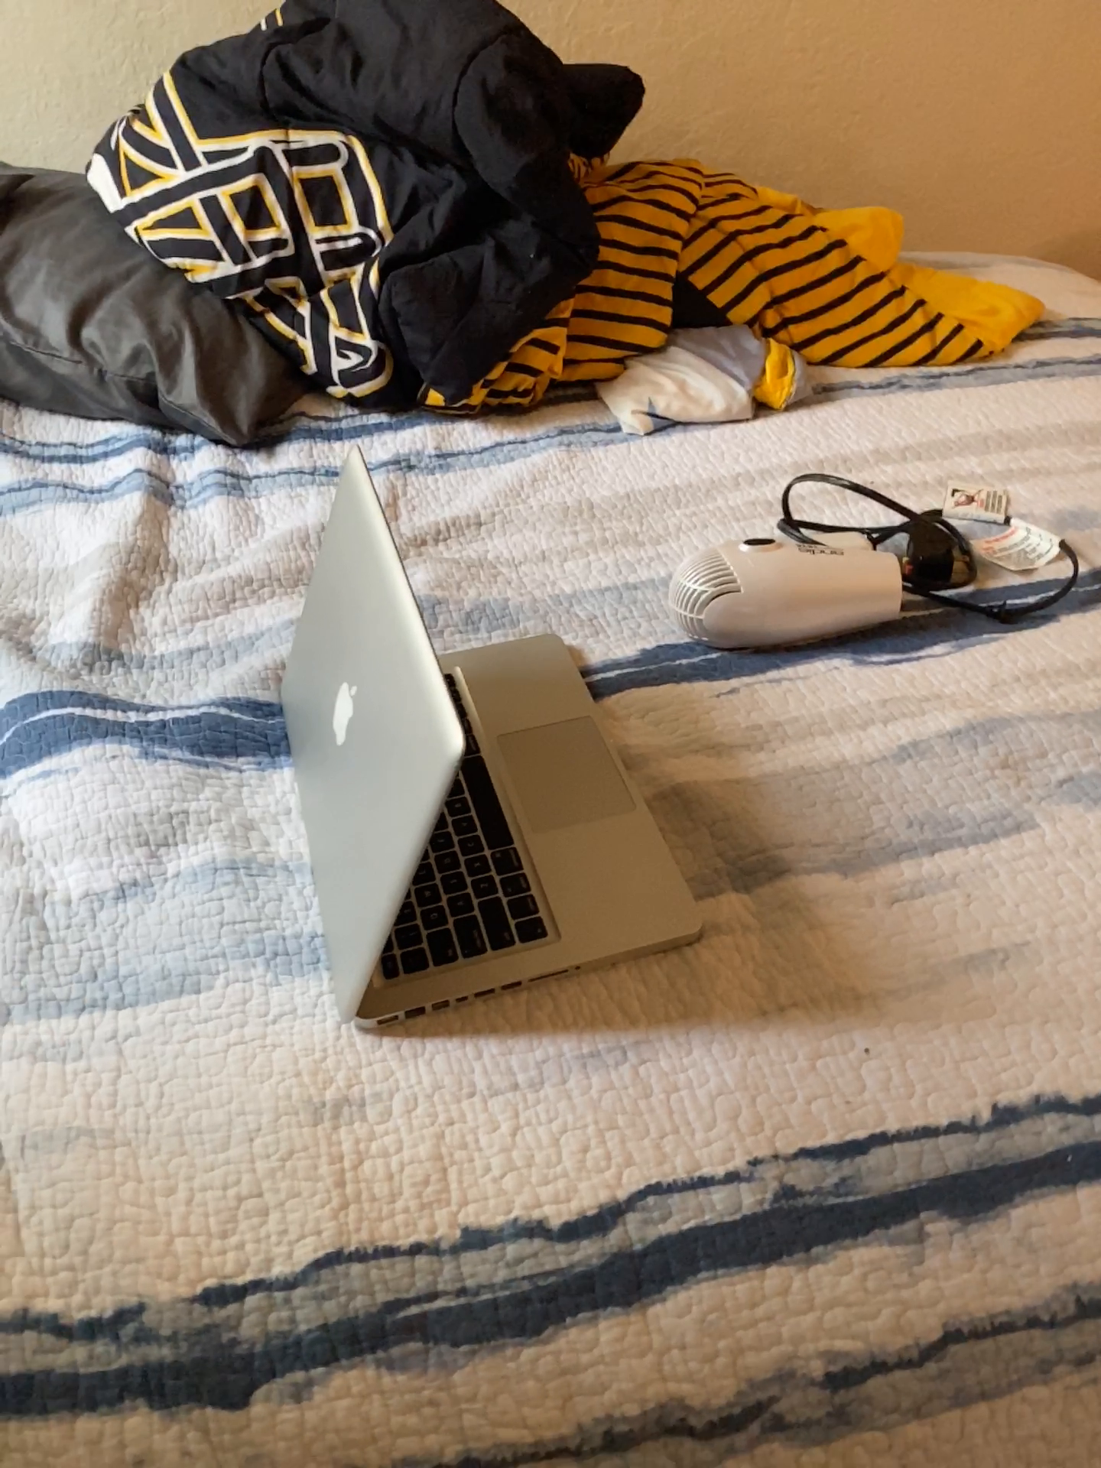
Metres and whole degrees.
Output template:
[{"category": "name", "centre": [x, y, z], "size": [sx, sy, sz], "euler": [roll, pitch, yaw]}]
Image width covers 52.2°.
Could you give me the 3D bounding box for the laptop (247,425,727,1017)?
[{"category": "laptop", "centre": [-0.055, -0.024, 0.715], "size": [0.214, 0.188, 0.302], "euler": [-12, 44, -10]}]
